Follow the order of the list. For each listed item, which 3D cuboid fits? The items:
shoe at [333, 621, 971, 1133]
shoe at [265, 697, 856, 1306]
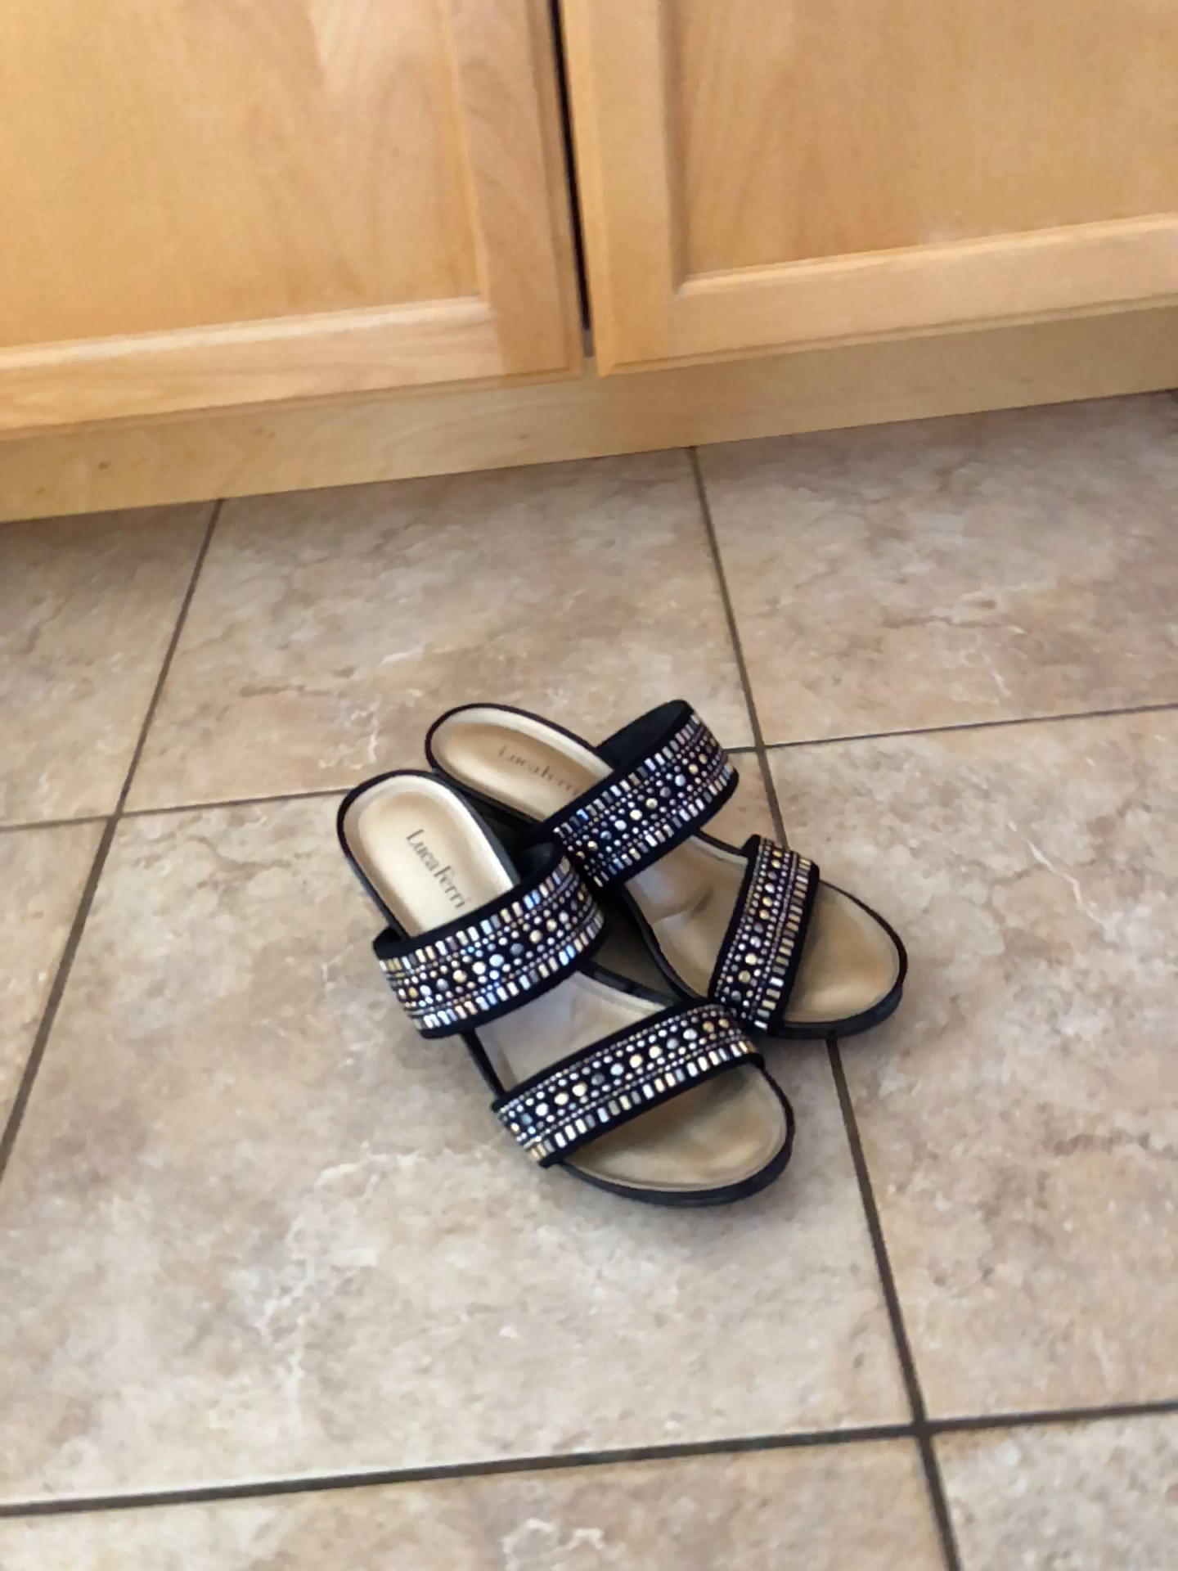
[{"bbox_3d":[0.025,0.028,0.530,0.220,0.100,0.110,18,48,26],"label":"shoe"},{"bbox_3d":[-0.015,0.071,0.497,0.090,0.100,0.221,-35,48,-27],"label":"shoe"}]
